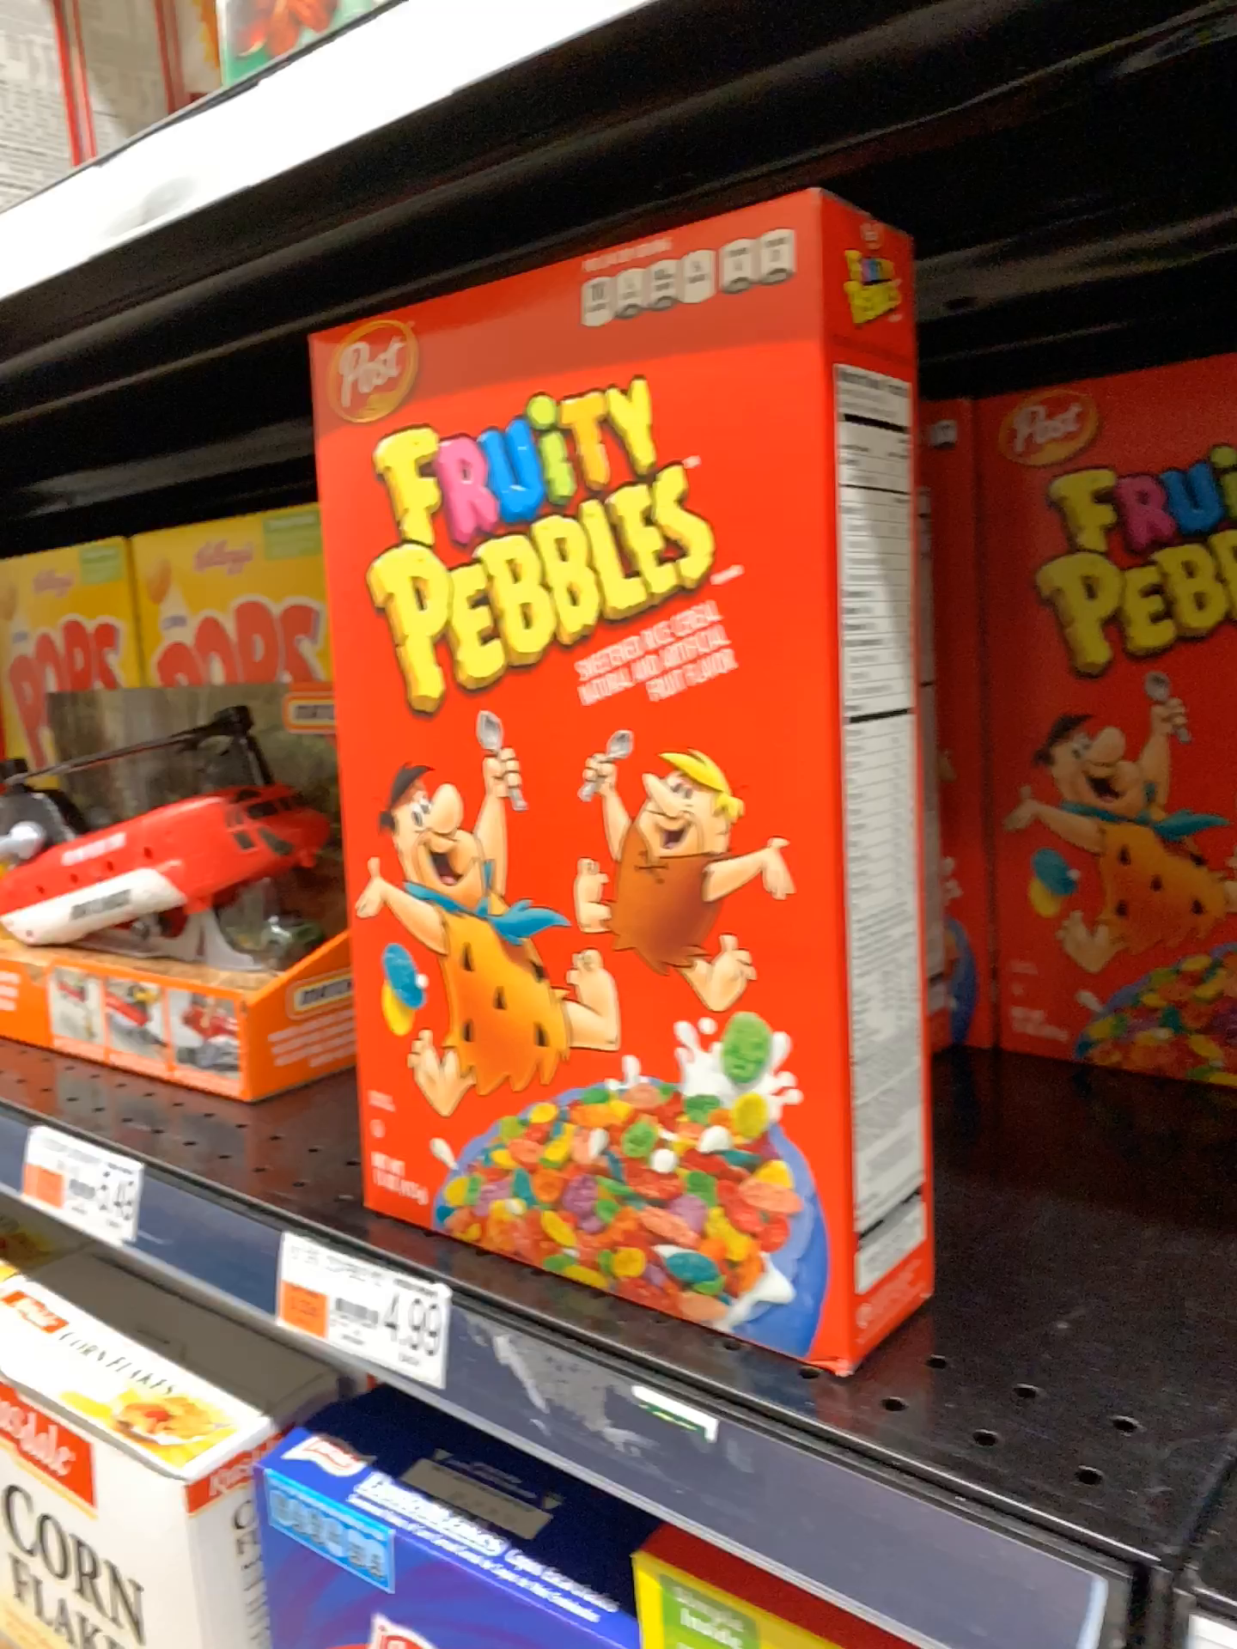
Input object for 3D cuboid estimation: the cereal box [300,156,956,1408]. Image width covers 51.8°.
[{"bbox_3d":[-0.003,-0.011,0.401,0.200,0.309,0.060,3,9,40],"label":"cereal box"}]
